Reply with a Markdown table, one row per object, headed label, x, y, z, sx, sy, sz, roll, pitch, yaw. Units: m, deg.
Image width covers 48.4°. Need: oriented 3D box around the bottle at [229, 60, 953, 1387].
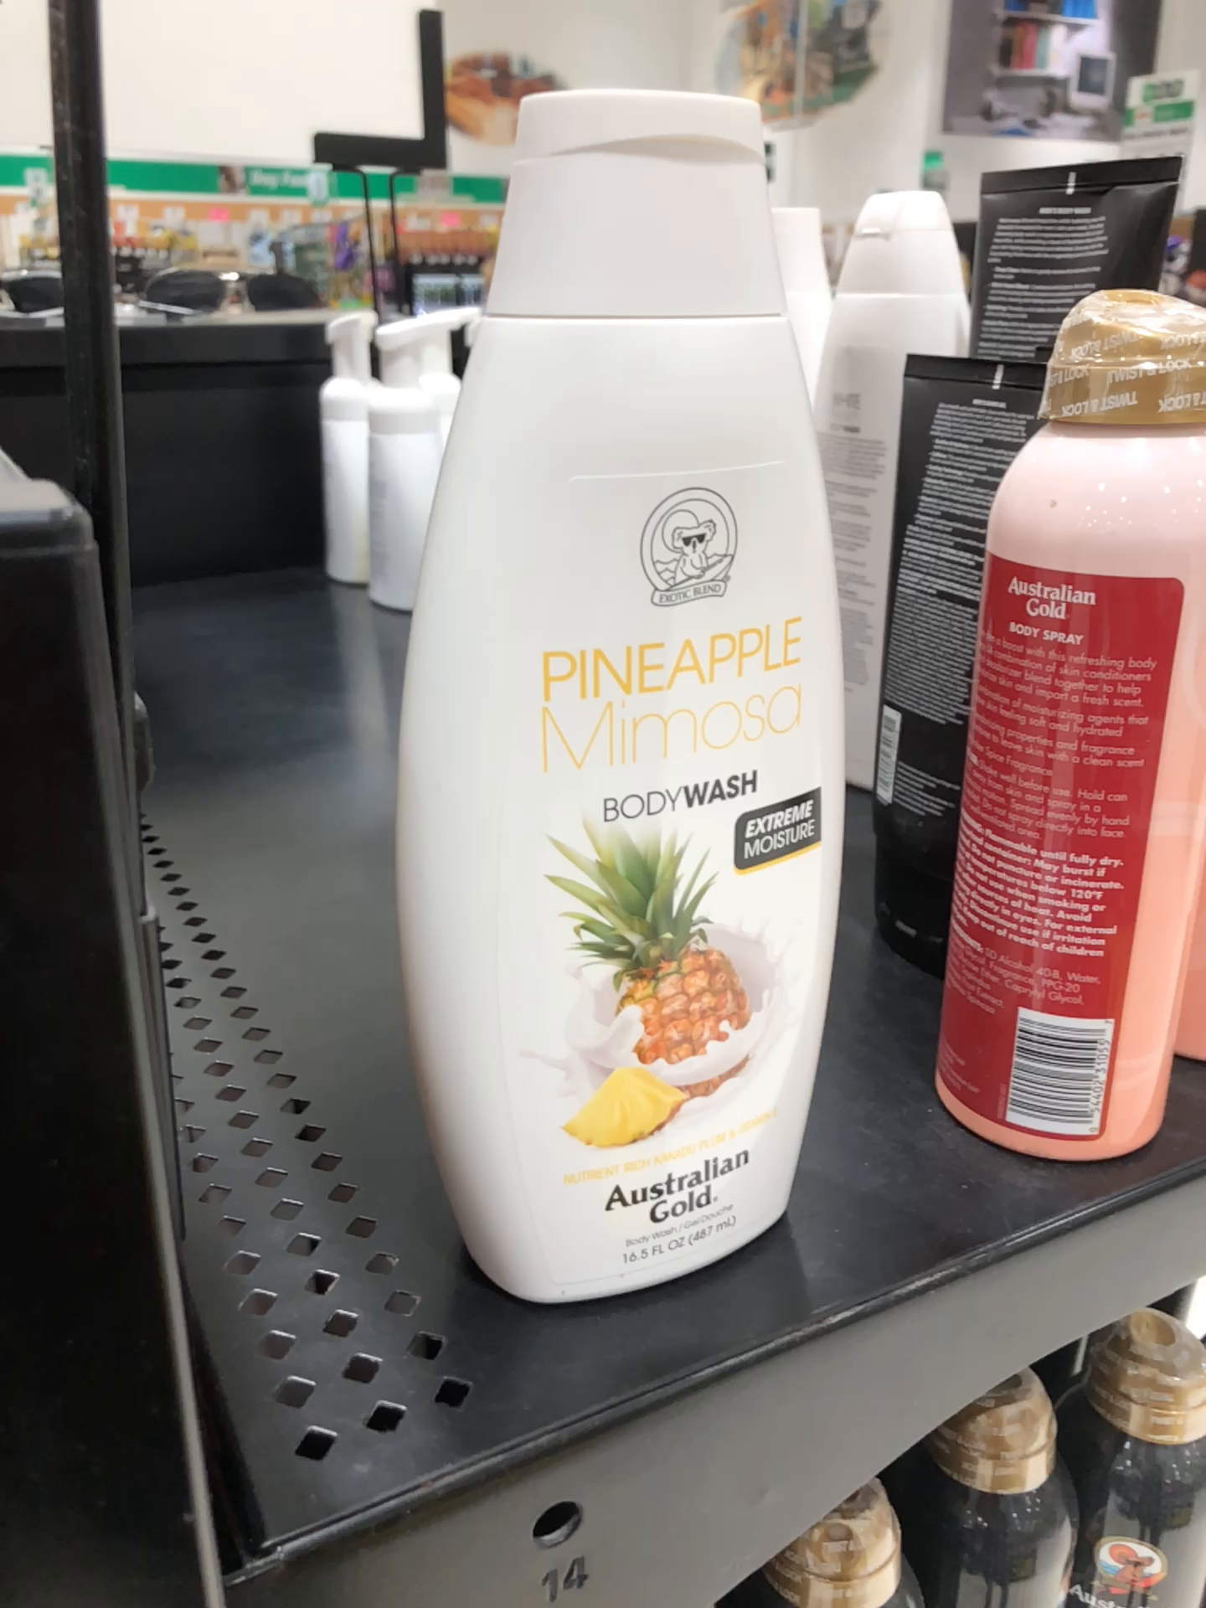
| label | x | y | z | sx | sy | sz | roll | pitch | yaw |
| --- | --- | --- | --- | --- | --- | --- | --- | --- | --- |
| bottle | -0.002 | -0.012 | 0.254 | 0.100 | 0.214 | 0.060 | -11 | 23 | -26 |
